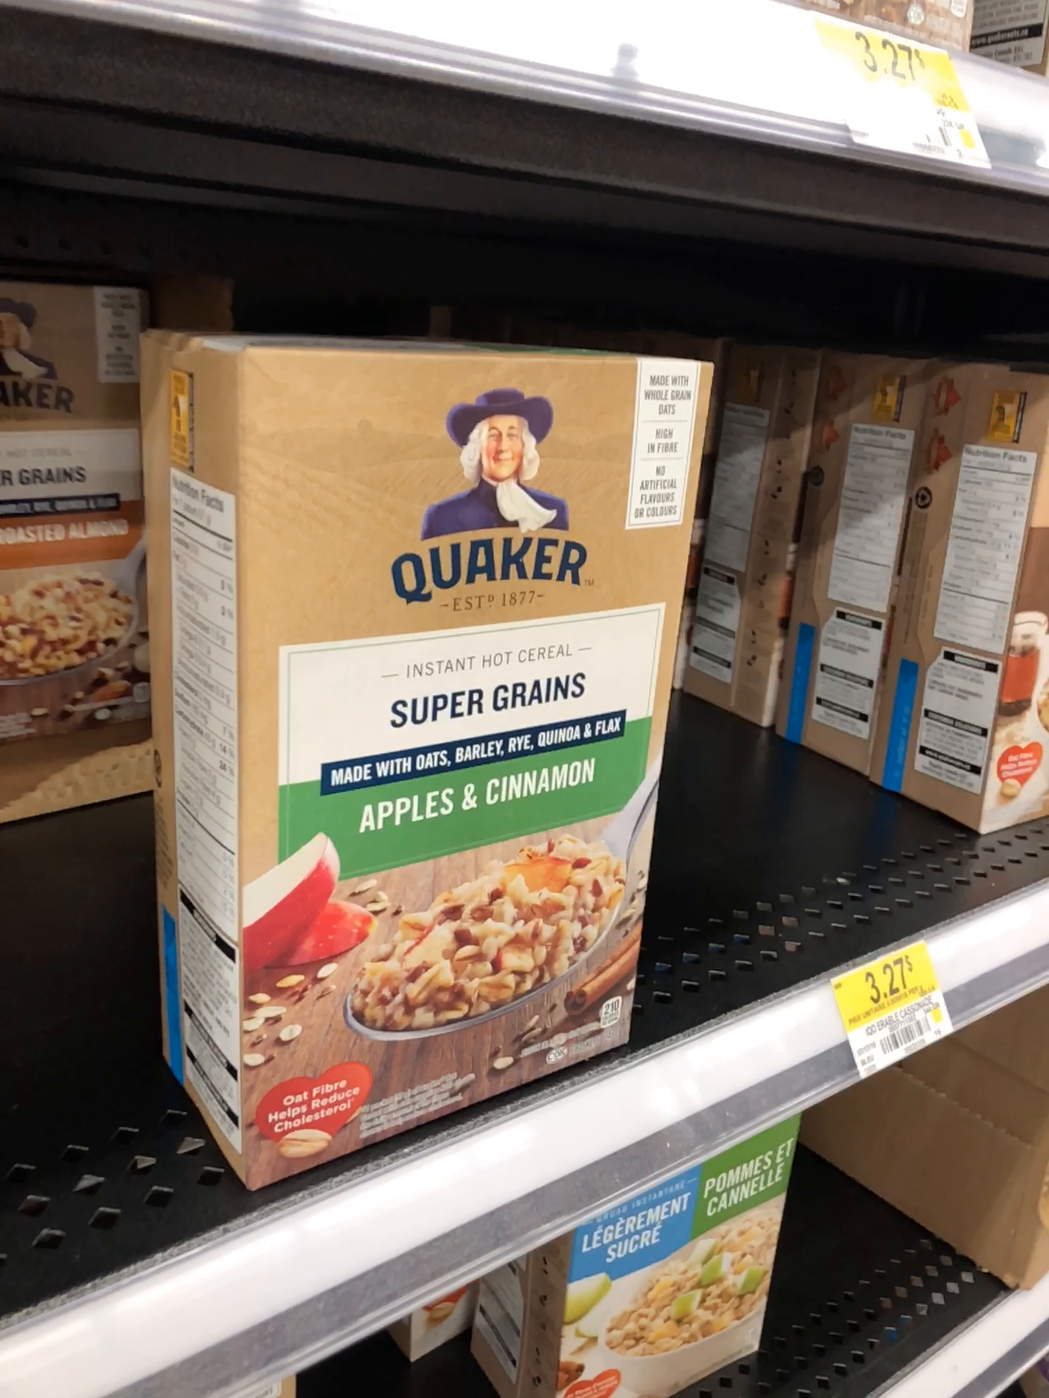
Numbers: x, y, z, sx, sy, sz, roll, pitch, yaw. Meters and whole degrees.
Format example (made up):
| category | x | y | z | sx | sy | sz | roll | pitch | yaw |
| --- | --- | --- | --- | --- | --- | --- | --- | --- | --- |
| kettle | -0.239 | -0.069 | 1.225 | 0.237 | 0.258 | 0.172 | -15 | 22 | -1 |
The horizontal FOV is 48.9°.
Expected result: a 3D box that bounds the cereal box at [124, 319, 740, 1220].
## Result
| category | x | y | z | sx | sy | sz | roll | pitch | yaw |
| --- | --- | --- | --- | --- | --- | --- | --- | --- | --- |
| cereal box | -0.025 | 0.011 | 0.300 | 0.130 | 0.199 | 0.060 | -9 | 24 | -35 |
